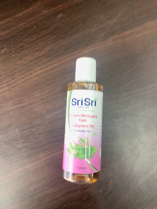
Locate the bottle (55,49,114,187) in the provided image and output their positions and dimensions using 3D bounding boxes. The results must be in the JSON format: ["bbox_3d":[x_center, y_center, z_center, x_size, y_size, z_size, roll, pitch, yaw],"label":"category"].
[{"bbox_3d":[0.007,0.012,0.178,0.050,0.040,0.130,3,83,2],"label":"bottle"}]
